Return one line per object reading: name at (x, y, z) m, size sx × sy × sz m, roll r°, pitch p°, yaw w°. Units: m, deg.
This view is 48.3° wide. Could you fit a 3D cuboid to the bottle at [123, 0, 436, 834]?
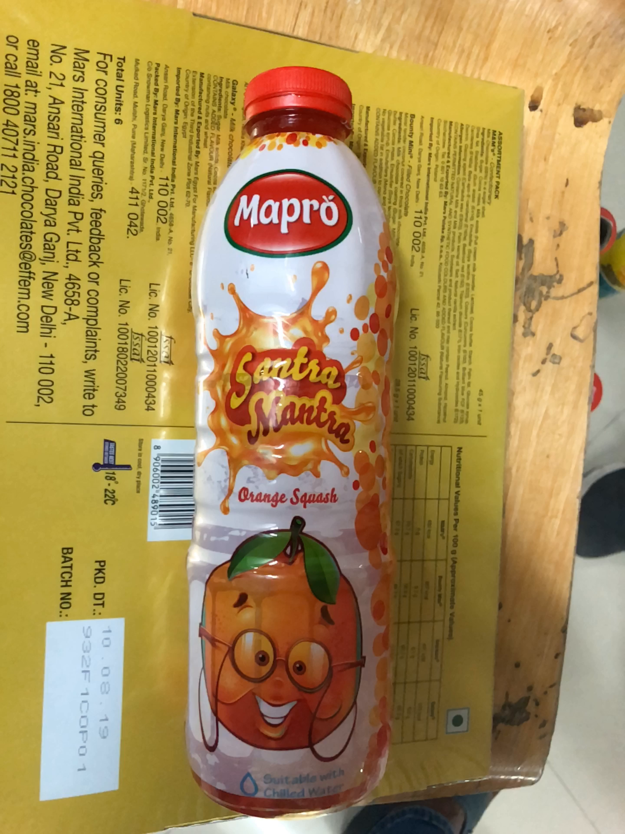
bottle at (-0.010, -0.006, 0.282) m, size 0.090 × 0.090 × 0.300 m, roll 3°, pitch 94°, yaw 22°
